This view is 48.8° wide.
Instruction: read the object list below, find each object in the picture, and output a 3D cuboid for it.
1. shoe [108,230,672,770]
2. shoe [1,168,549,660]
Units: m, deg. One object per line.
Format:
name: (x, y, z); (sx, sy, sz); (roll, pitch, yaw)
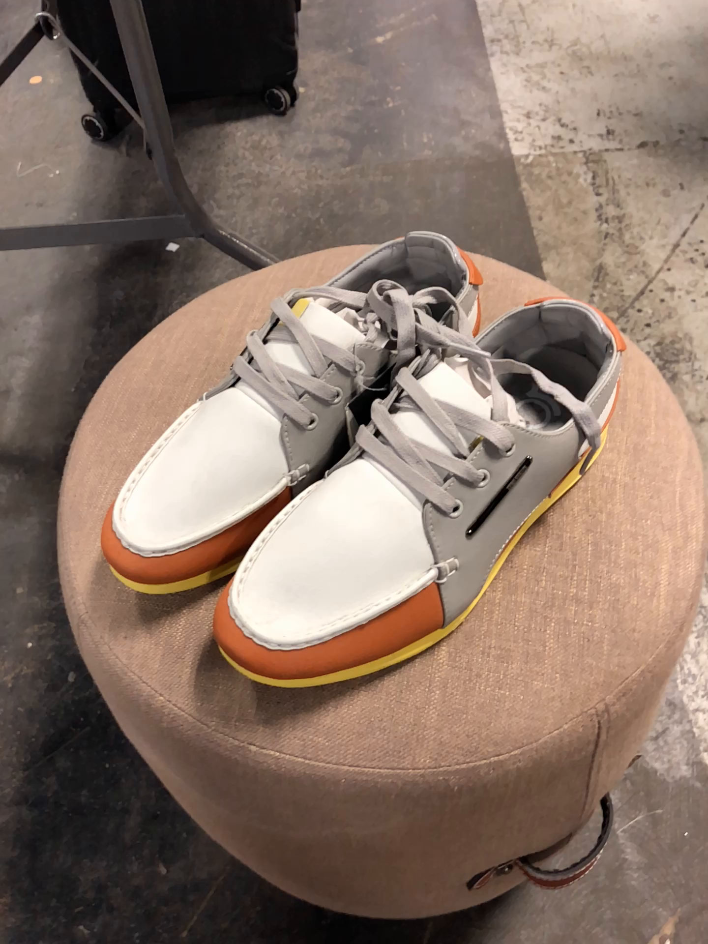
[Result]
shoe: (0.028, 0.002, 0.381); (0.251, 0.099, 0.100); (-39, 60, -23)
shoe: (-0.026, -0.044, 0.433); (0.281, 0.099, 0.100); (-39, 60, -23)
